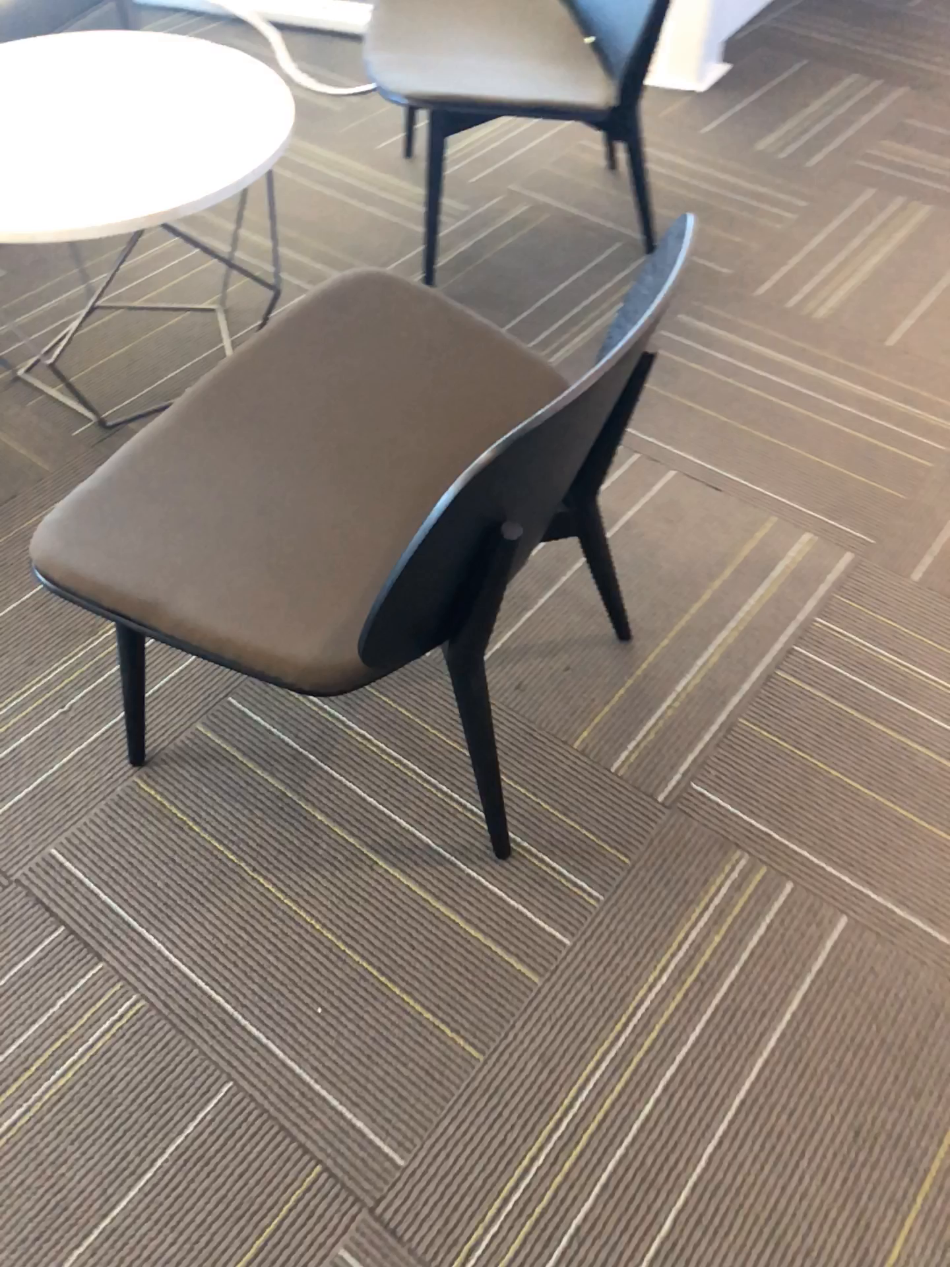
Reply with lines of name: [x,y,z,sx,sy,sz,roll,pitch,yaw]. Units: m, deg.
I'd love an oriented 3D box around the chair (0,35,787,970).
chair: [-0.142,-0.177,1.318,0.741,0.737,0.672,20,52,16]
